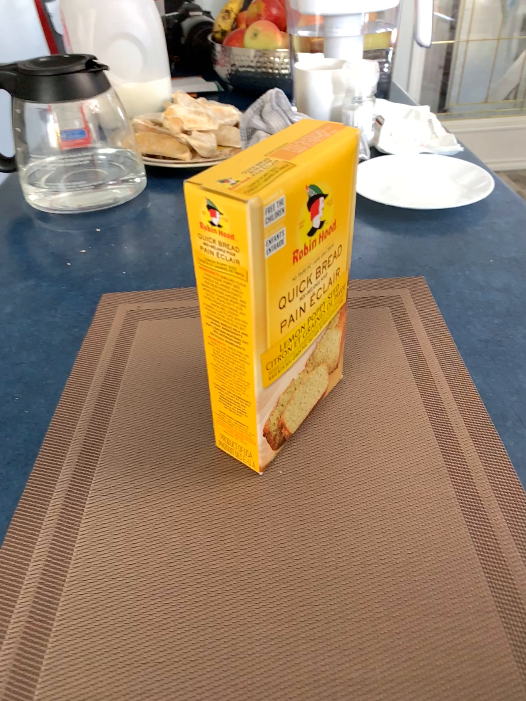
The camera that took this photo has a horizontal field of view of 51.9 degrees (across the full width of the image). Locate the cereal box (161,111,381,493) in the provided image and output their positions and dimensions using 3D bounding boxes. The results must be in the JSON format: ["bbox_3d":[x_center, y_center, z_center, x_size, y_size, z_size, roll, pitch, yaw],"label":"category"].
[{"bbox_3d":[0.014,-0.027,0.316,0.040,0.178,0.131,21,44,29],"label":"cereal box"}]
